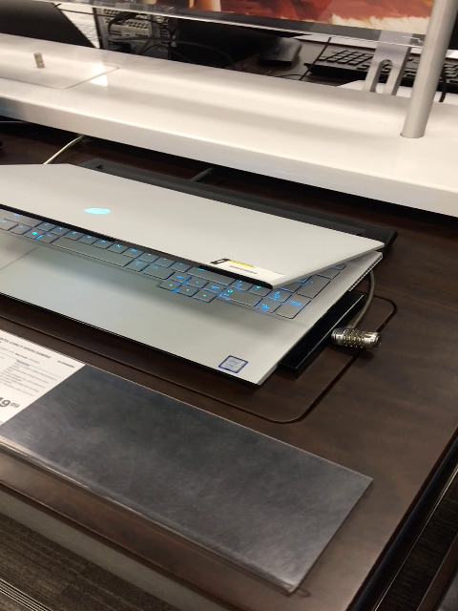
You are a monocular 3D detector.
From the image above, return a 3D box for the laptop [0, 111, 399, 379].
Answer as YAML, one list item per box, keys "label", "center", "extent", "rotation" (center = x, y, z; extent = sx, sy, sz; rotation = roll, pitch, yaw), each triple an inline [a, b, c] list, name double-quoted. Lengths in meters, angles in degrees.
- label: "laptop"
  center: [-0.095, -0.086, 0.611]
  extent: [0.414, 0.102, 0.229]
  rotation: [19, 44, 25]
